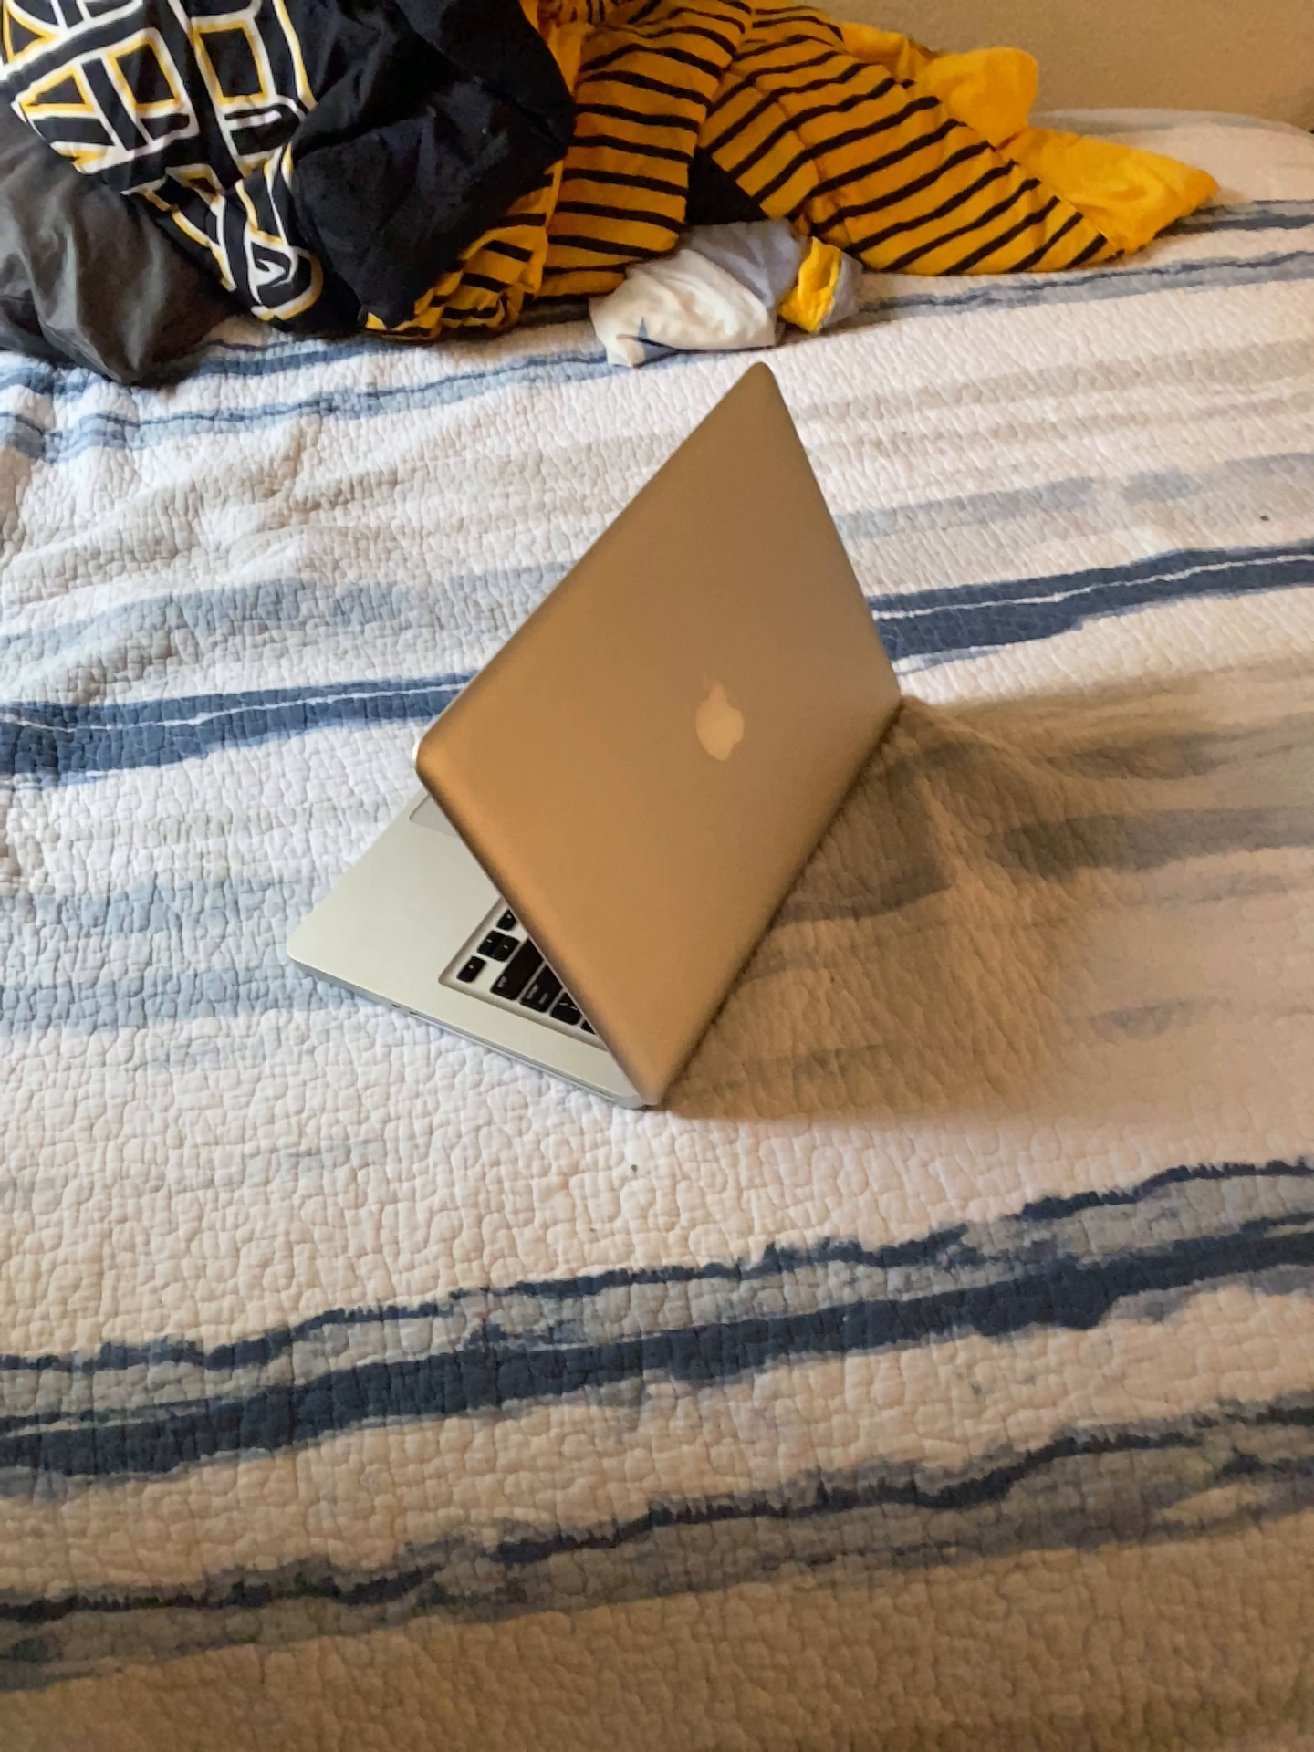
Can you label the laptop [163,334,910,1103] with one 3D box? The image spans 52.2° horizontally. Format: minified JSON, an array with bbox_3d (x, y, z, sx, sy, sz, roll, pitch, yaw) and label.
[{"bbox_3d":[-0.037,-0.098,0.692,0.220,0.191,0.316,20,54,22],"label":"laptop"}]
